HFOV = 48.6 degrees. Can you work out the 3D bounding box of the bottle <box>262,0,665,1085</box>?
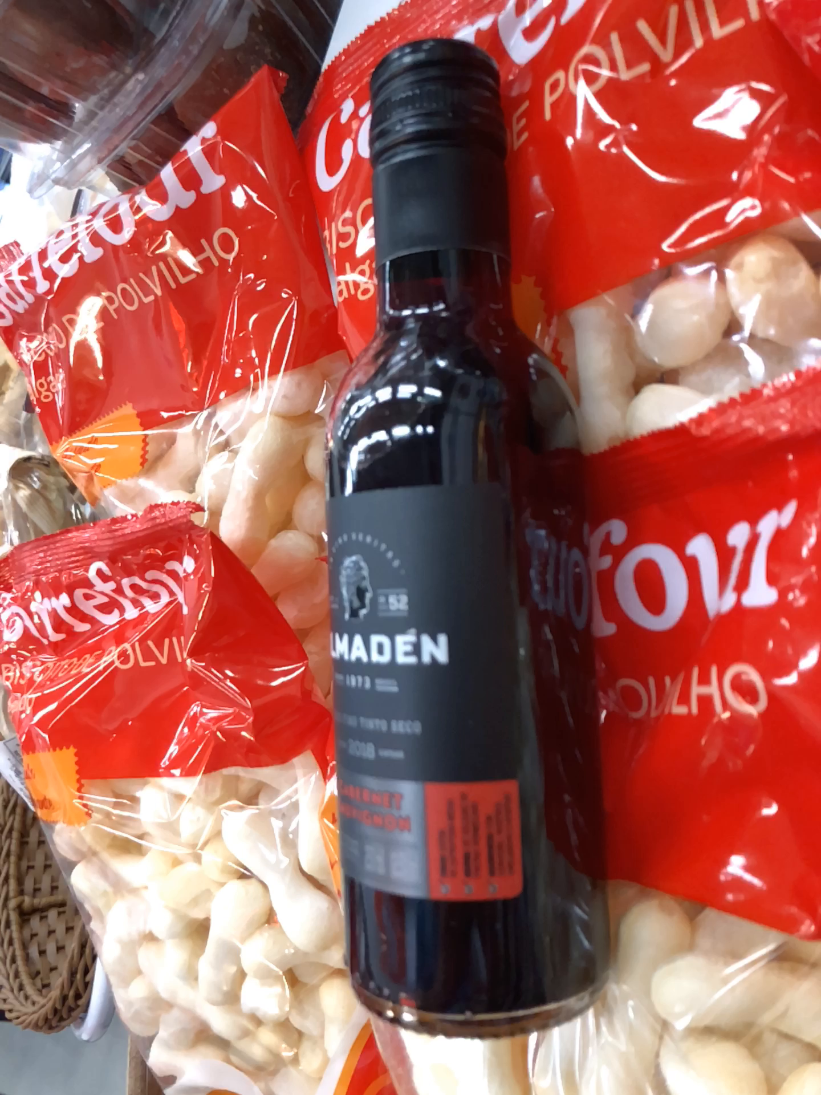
[{"bbox_3d":[0.009,-0.025,0.208,0.060,0.060,0.240,-9,79,46],"label":"bottle"}]
